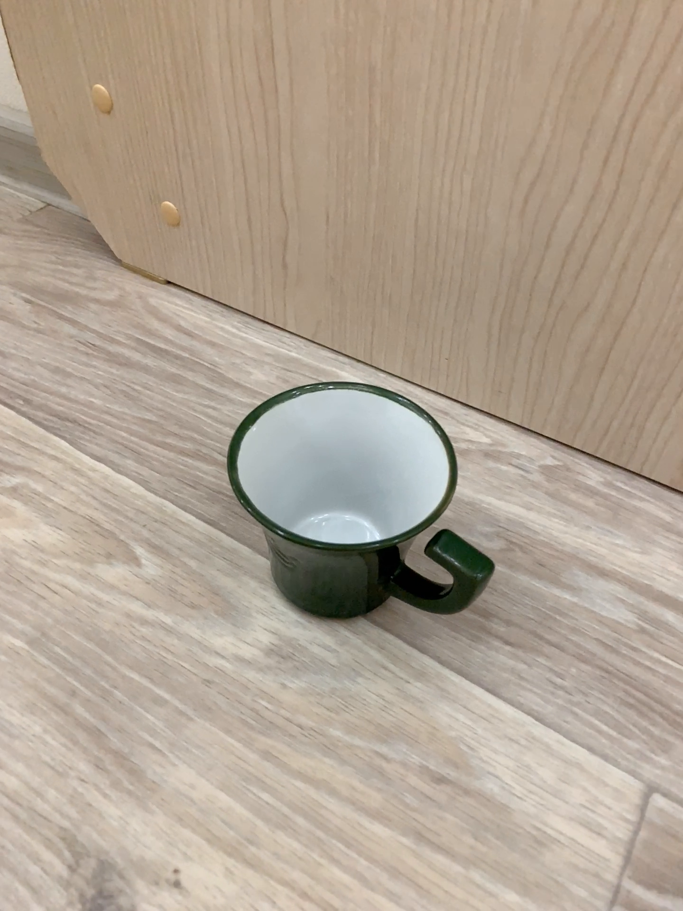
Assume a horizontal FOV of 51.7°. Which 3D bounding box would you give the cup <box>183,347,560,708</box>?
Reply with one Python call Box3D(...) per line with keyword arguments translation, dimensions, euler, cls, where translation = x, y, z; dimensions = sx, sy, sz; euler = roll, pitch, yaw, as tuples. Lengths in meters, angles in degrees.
Box3D(translation=(0.010, 0.022, 0.264), dimensions=(0.107, 0.061, 0.074), euler=(28, 51, 23), cls="cup")
